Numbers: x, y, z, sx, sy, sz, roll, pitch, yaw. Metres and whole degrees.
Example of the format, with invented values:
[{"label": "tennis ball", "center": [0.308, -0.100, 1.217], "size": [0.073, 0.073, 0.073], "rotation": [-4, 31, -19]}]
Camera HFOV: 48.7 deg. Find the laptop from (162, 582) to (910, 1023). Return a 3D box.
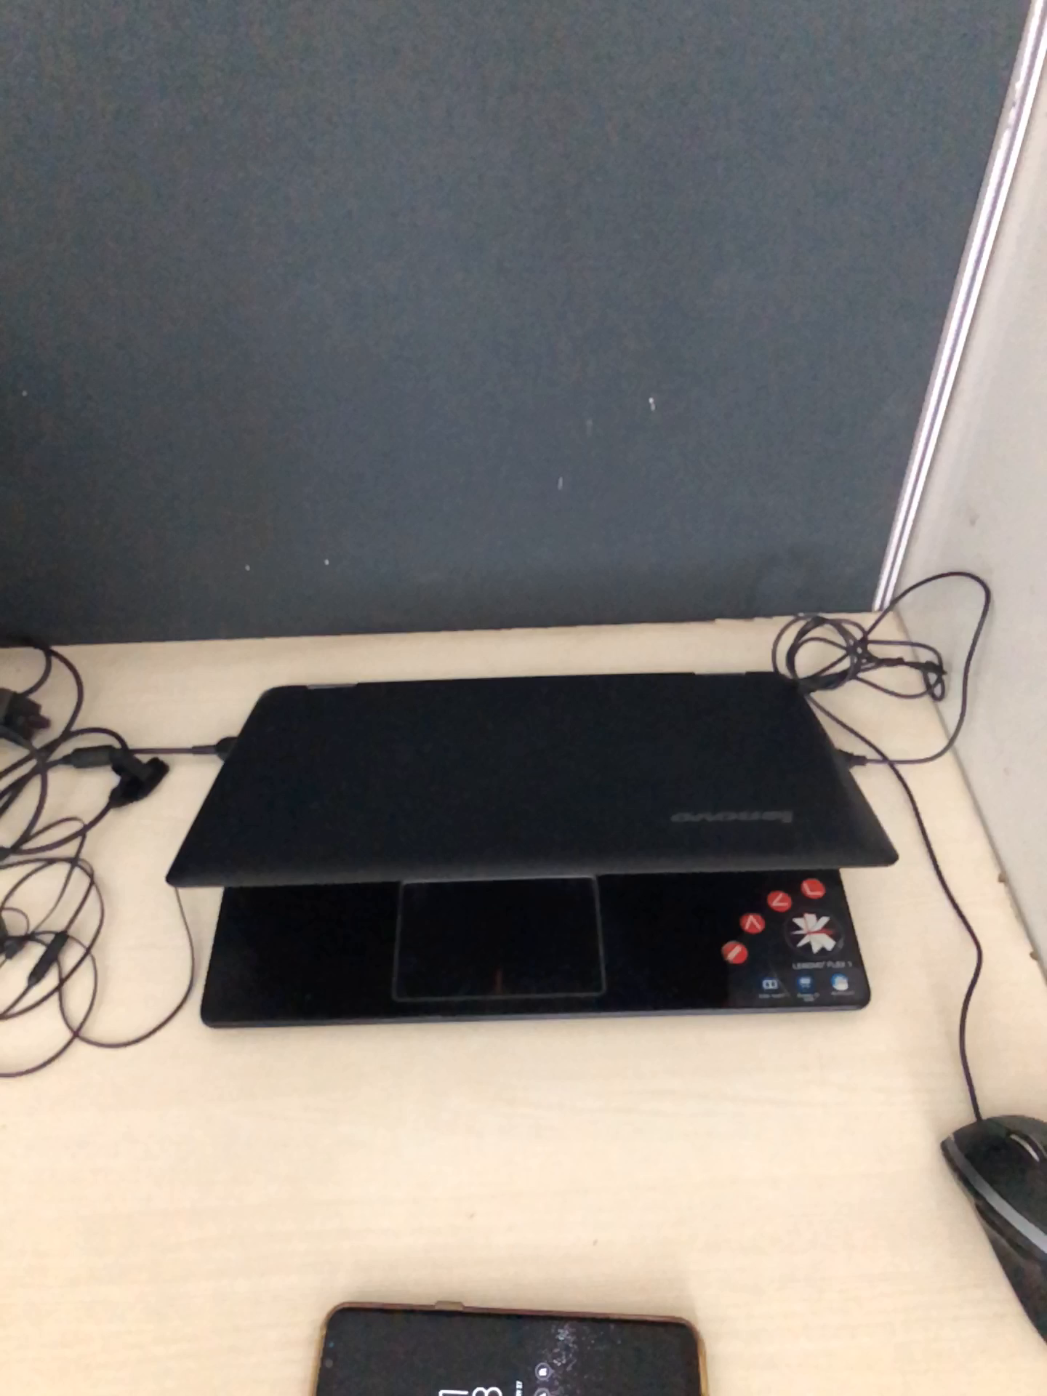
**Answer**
[{"label": "laptop", "center": [0.004, 0.046, 0.611], "size": [0.326, 0.082, 0.221], "rotation": [-2, 44, 1]}]
